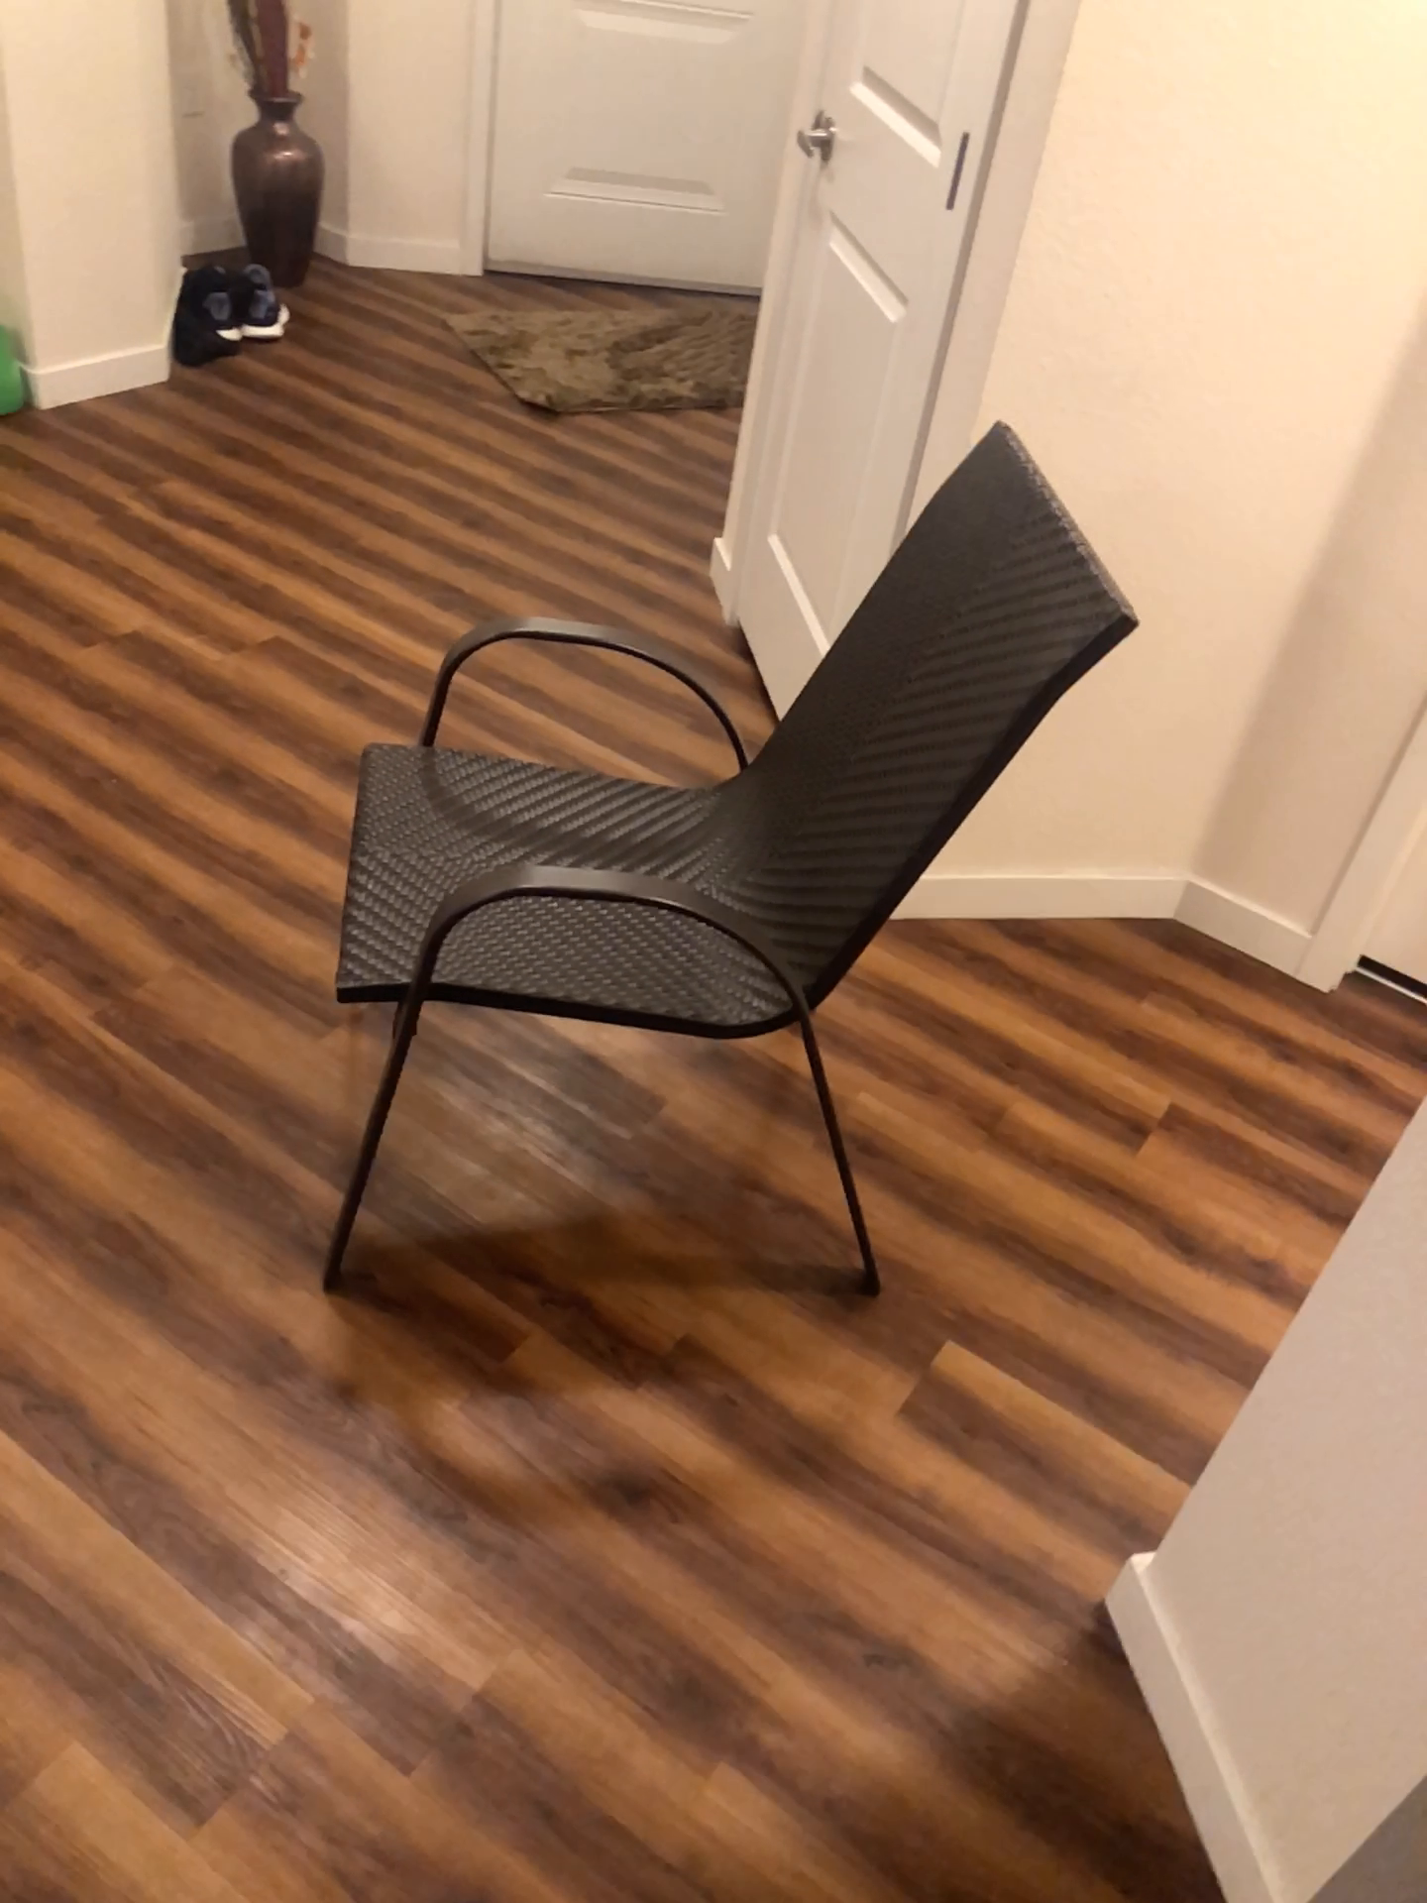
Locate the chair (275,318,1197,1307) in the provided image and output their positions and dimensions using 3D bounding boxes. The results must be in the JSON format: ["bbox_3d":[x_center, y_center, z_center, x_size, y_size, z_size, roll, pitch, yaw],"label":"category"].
[{"bbox_3d":[-0.056,-0.126,1.729,0.747,0.852,0.600,3,38,-10],"label":"chair"}]
